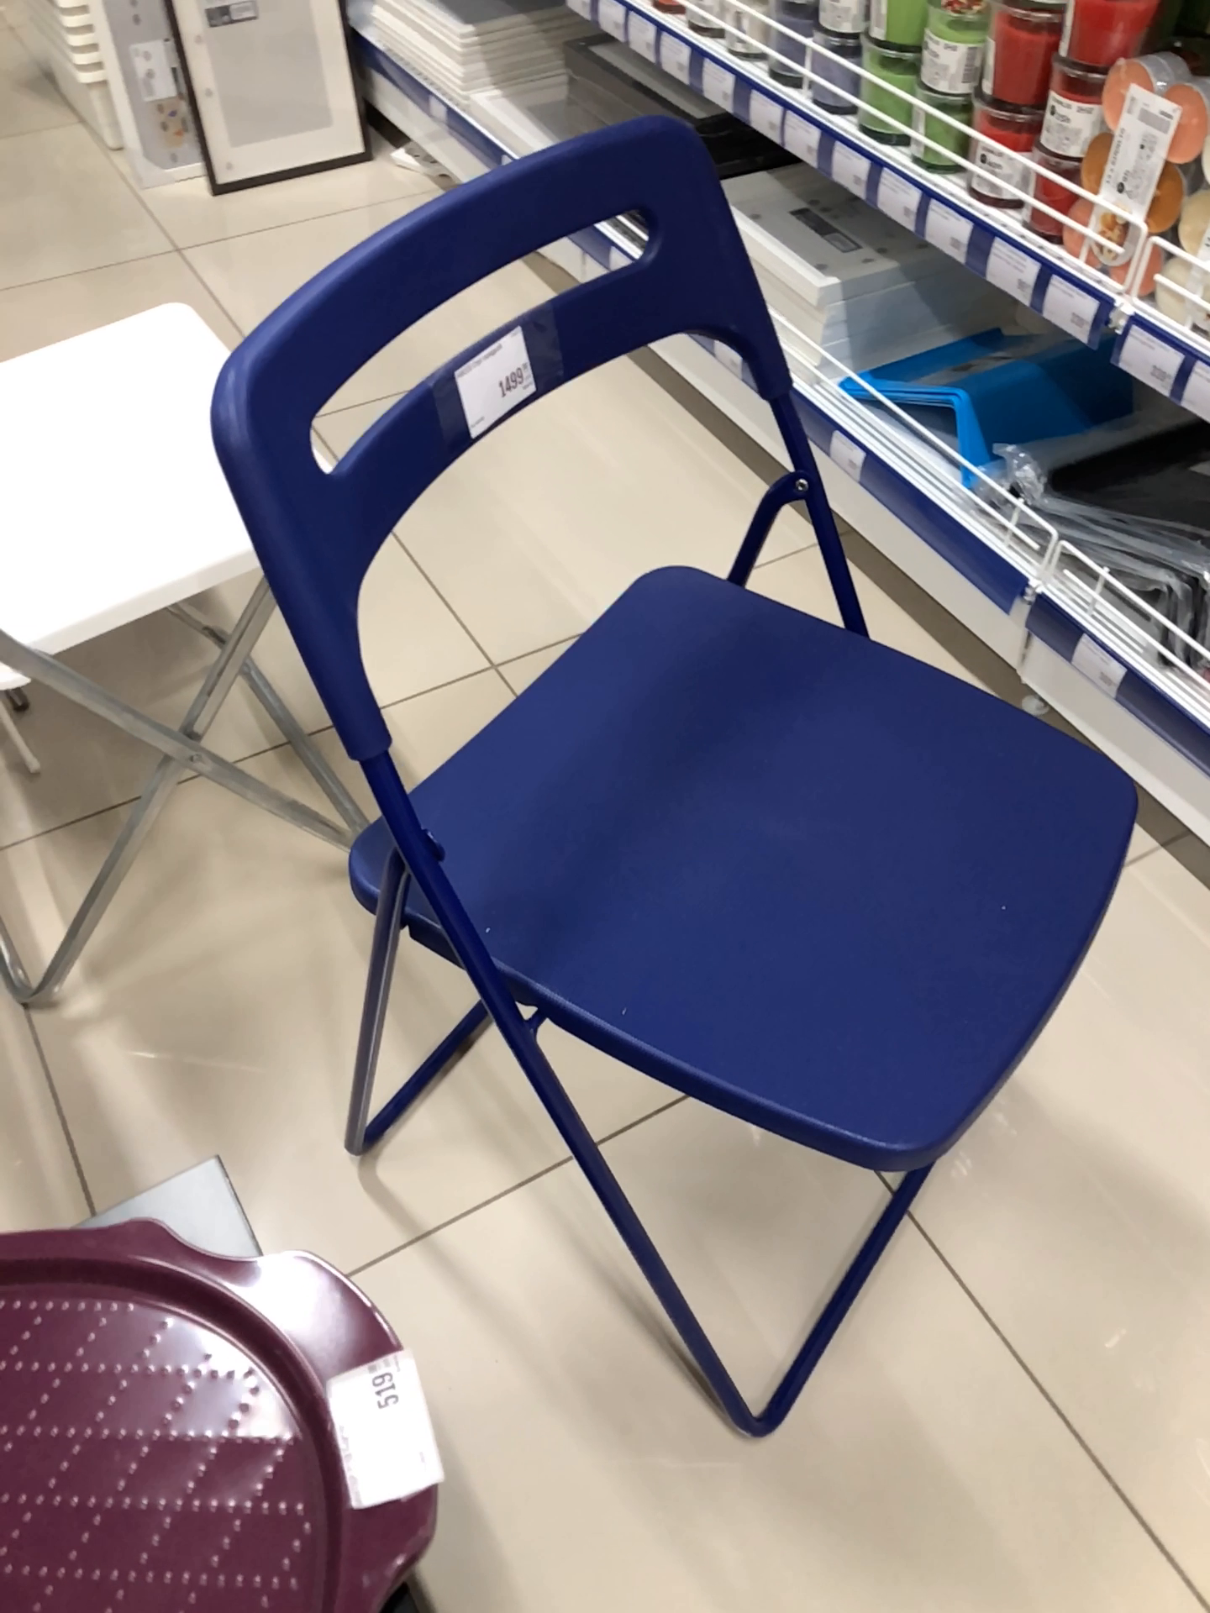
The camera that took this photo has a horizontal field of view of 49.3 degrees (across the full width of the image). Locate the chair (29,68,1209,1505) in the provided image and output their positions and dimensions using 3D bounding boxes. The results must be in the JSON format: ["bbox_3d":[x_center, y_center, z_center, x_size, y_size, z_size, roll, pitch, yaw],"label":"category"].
[{"bbox_3d":[0.069,0.014,0.869,0.465,0.705,0.452,28,54,23],"label":"chair"}]
